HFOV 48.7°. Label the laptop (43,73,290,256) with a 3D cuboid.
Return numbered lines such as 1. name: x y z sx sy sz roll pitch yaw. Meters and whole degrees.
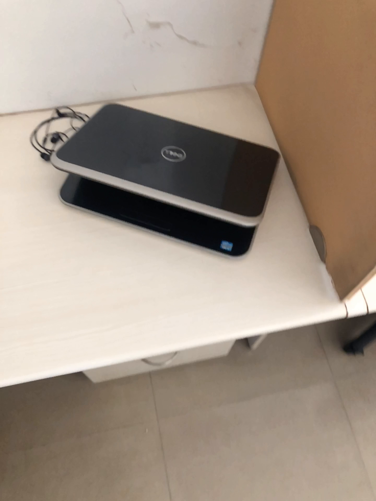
1. laptop: -0.029 -0.164 0.751 0.357 0.094 0.239 18 62 7
